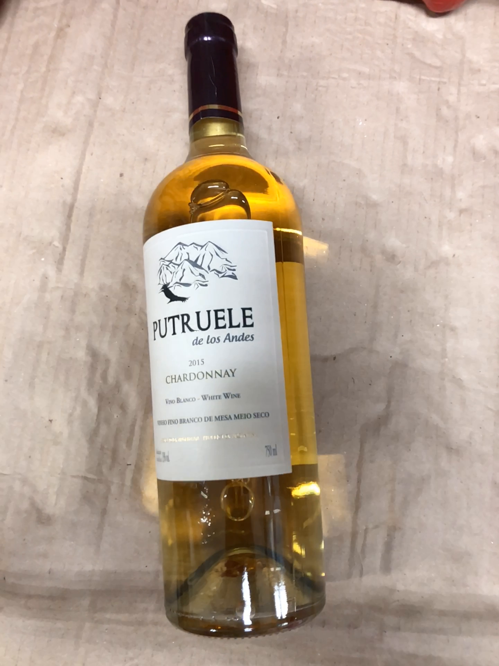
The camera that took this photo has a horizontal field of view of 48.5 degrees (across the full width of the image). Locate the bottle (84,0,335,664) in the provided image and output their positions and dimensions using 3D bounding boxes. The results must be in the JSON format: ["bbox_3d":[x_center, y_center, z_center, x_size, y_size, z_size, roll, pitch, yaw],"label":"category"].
[{"bbox_3d":[-0.021,-0.024,0.262,0.080,0.070,0.300,-8,78,20],"label":"bottle"}]
